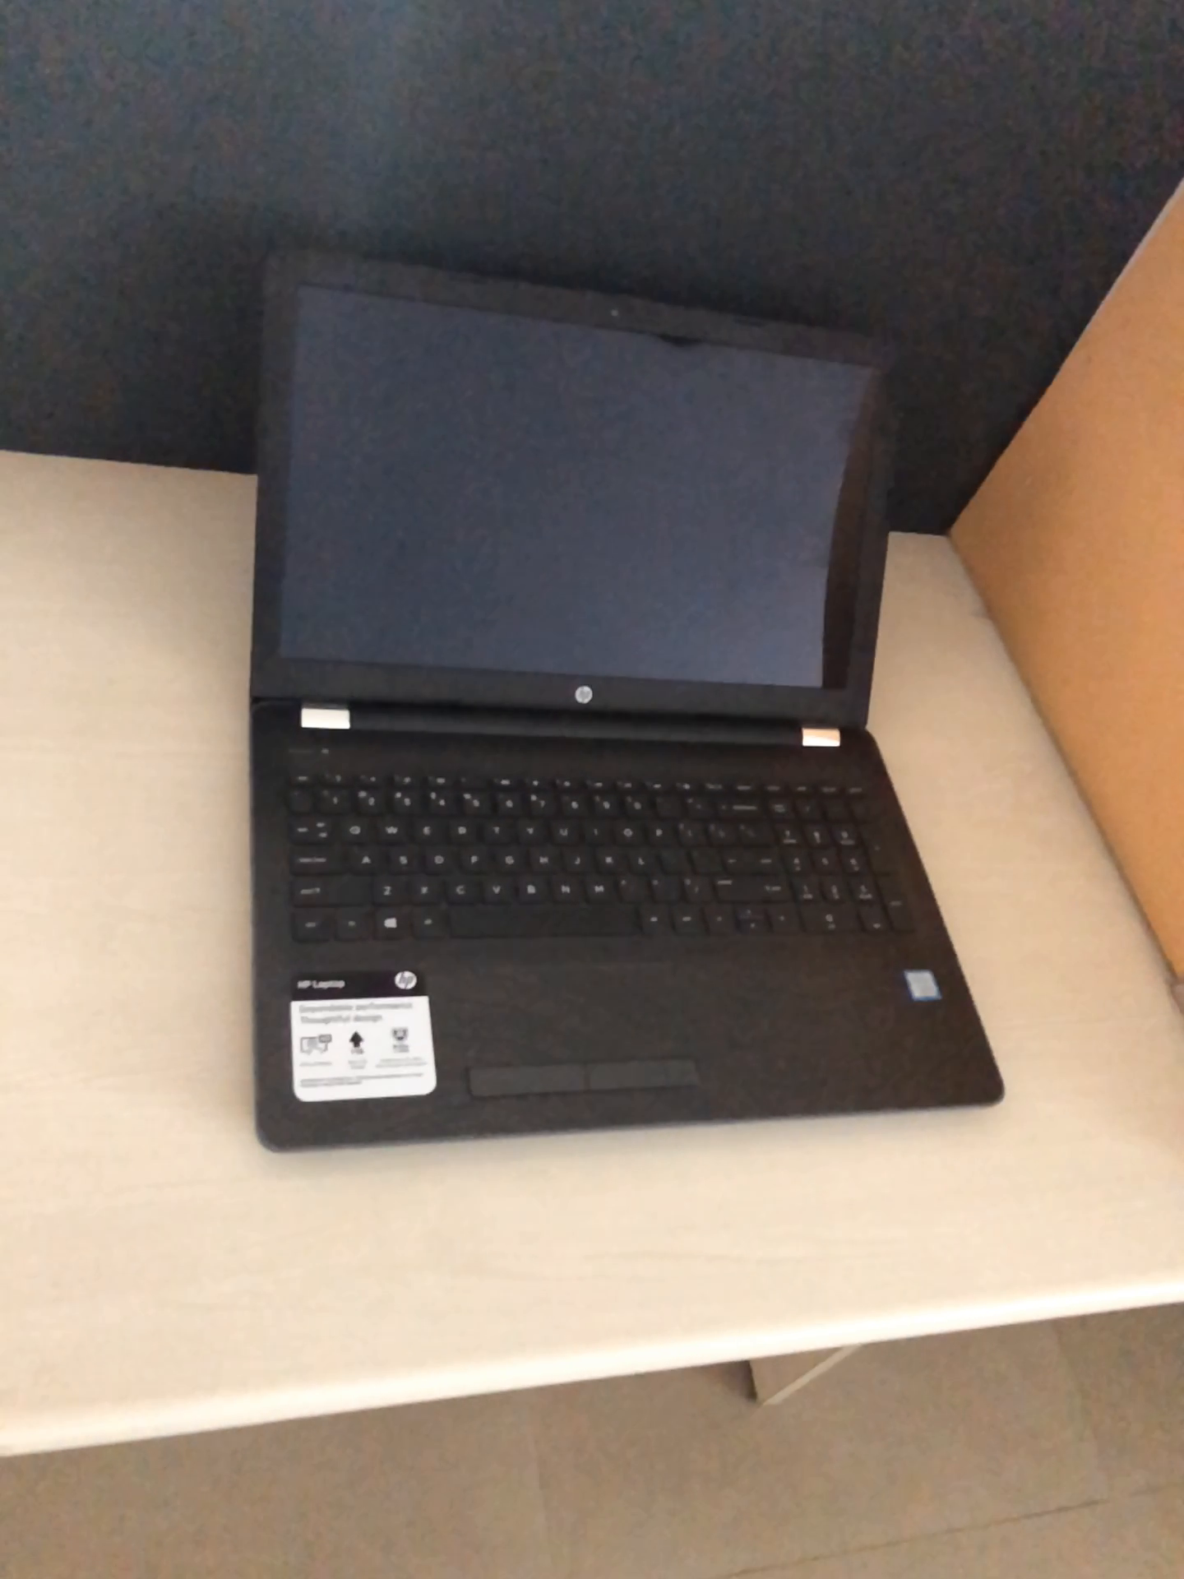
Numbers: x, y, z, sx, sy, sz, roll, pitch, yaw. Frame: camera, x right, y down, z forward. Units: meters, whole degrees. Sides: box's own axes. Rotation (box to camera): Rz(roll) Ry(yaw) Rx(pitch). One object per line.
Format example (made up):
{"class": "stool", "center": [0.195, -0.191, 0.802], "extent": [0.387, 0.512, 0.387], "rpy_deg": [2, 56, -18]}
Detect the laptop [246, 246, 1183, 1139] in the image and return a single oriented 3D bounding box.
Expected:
{"class": "laptop", "center": [0.024, -0.061, 0.677], "extent": [0.378, 0.173, 0.410], "rpy_deg": [1, 53, -19]}
